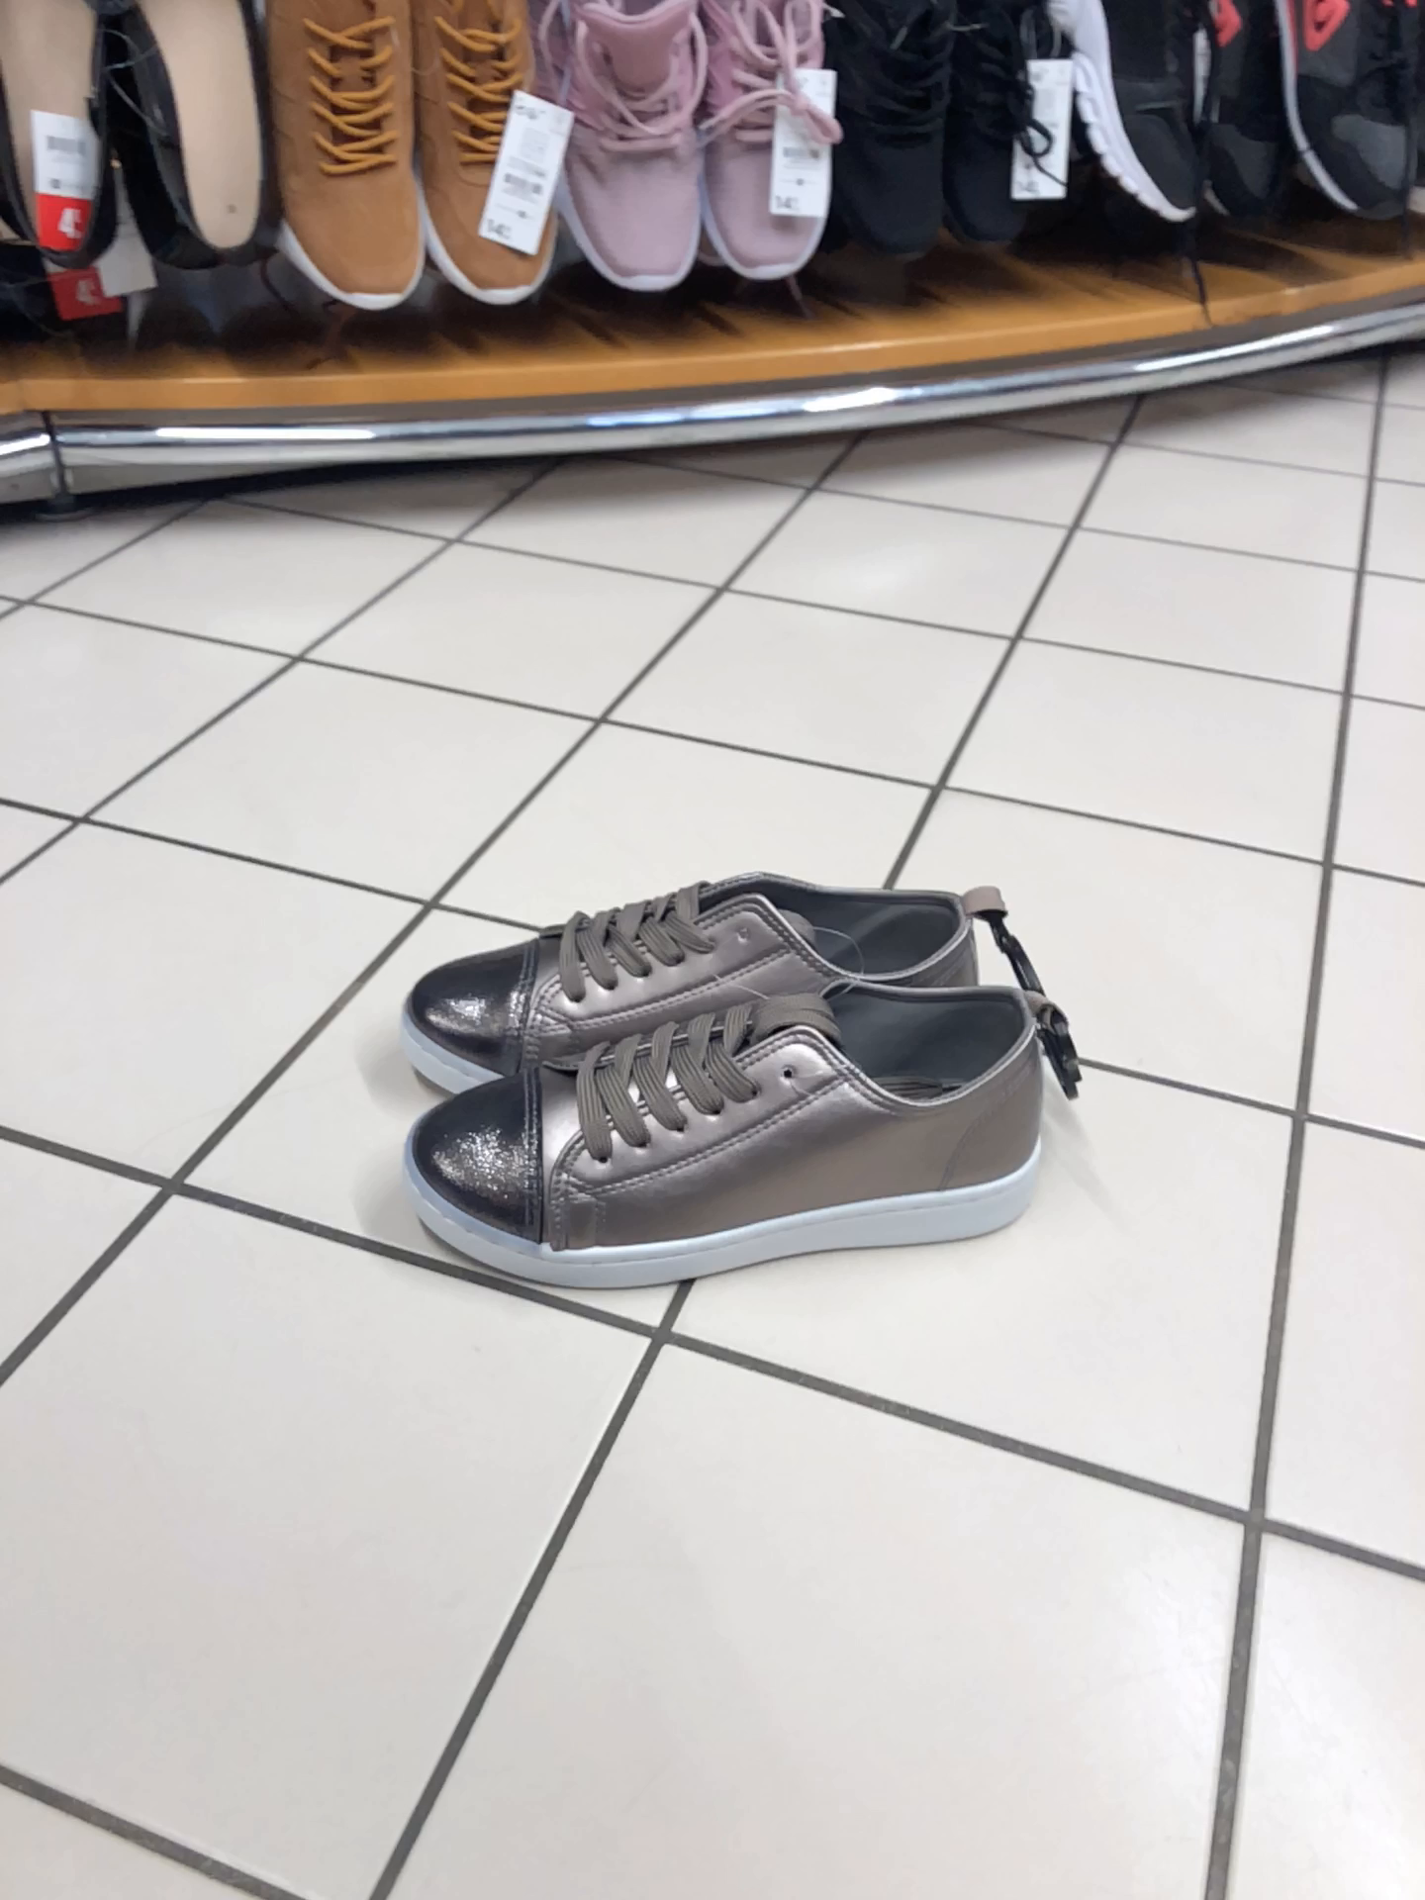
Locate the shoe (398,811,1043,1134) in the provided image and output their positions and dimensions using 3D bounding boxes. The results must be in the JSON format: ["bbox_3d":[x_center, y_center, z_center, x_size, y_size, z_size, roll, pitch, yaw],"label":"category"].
[{"bbox_3d":[0.000,0.006,0.637,0.240,0.080,0.090,-3,37,-7],"label":"shoe"}]

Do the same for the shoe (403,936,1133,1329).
[{"bbox_3d":[0.014,0.062,0.566,0.240,0.080,0.090,-4,37,-8],"label":"shoe"}]
